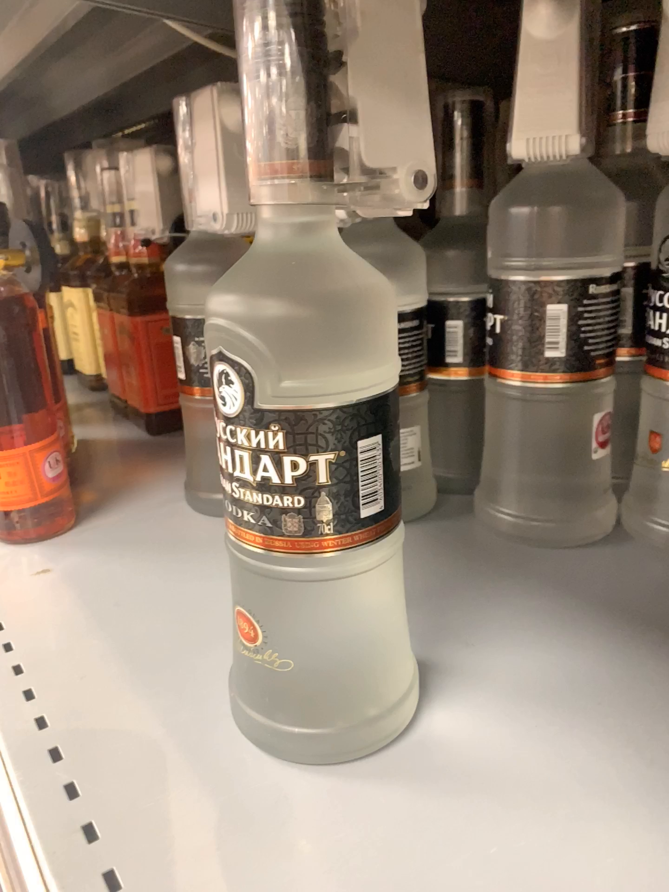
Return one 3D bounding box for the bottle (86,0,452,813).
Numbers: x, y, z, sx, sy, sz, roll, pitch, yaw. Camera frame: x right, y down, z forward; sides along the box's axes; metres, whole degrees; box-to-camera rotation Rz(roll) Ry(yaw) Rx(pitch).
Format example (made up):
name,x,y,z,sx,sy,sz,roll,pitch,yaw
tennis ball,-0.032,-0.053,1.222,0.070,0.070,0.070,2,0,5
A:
name,x,y,z,sx,sy,sz,roll,pitch,yaw
bottle,-0.019,-0.022,0.272,0.088,0.288,0.092,-3,17,1
